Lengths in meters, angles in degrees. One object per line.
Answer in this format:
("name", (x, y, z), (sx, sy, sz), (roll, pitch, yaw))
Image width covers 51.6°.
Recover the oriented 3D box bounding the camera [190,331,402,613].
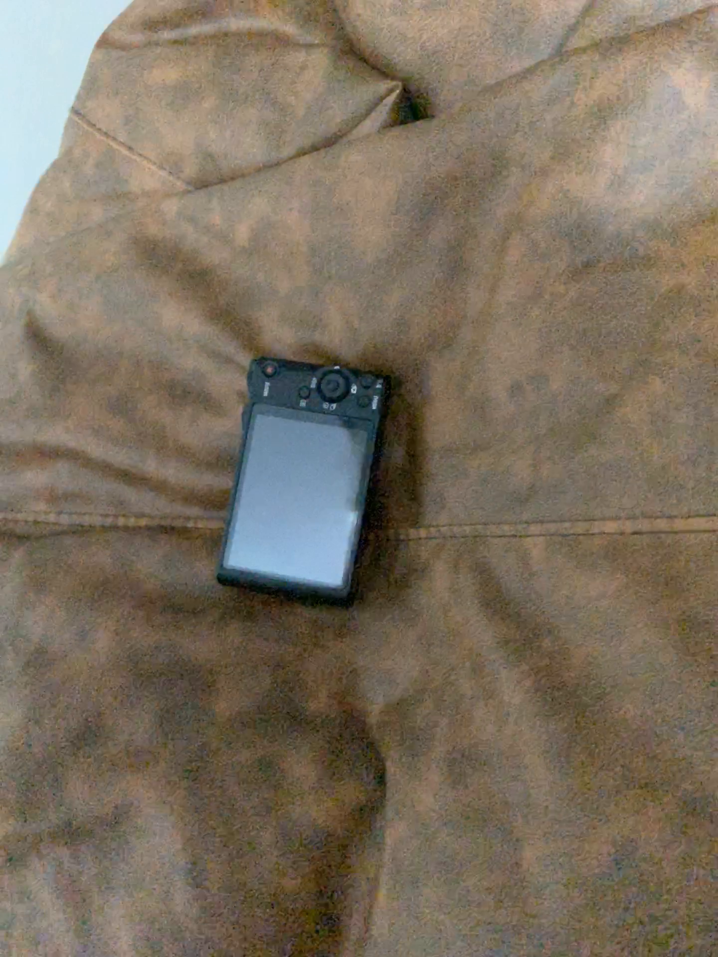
("camera", (-0.024, -0.003, 0.291), (0.060, 0.024, 0.100), (9, 84, 17))
